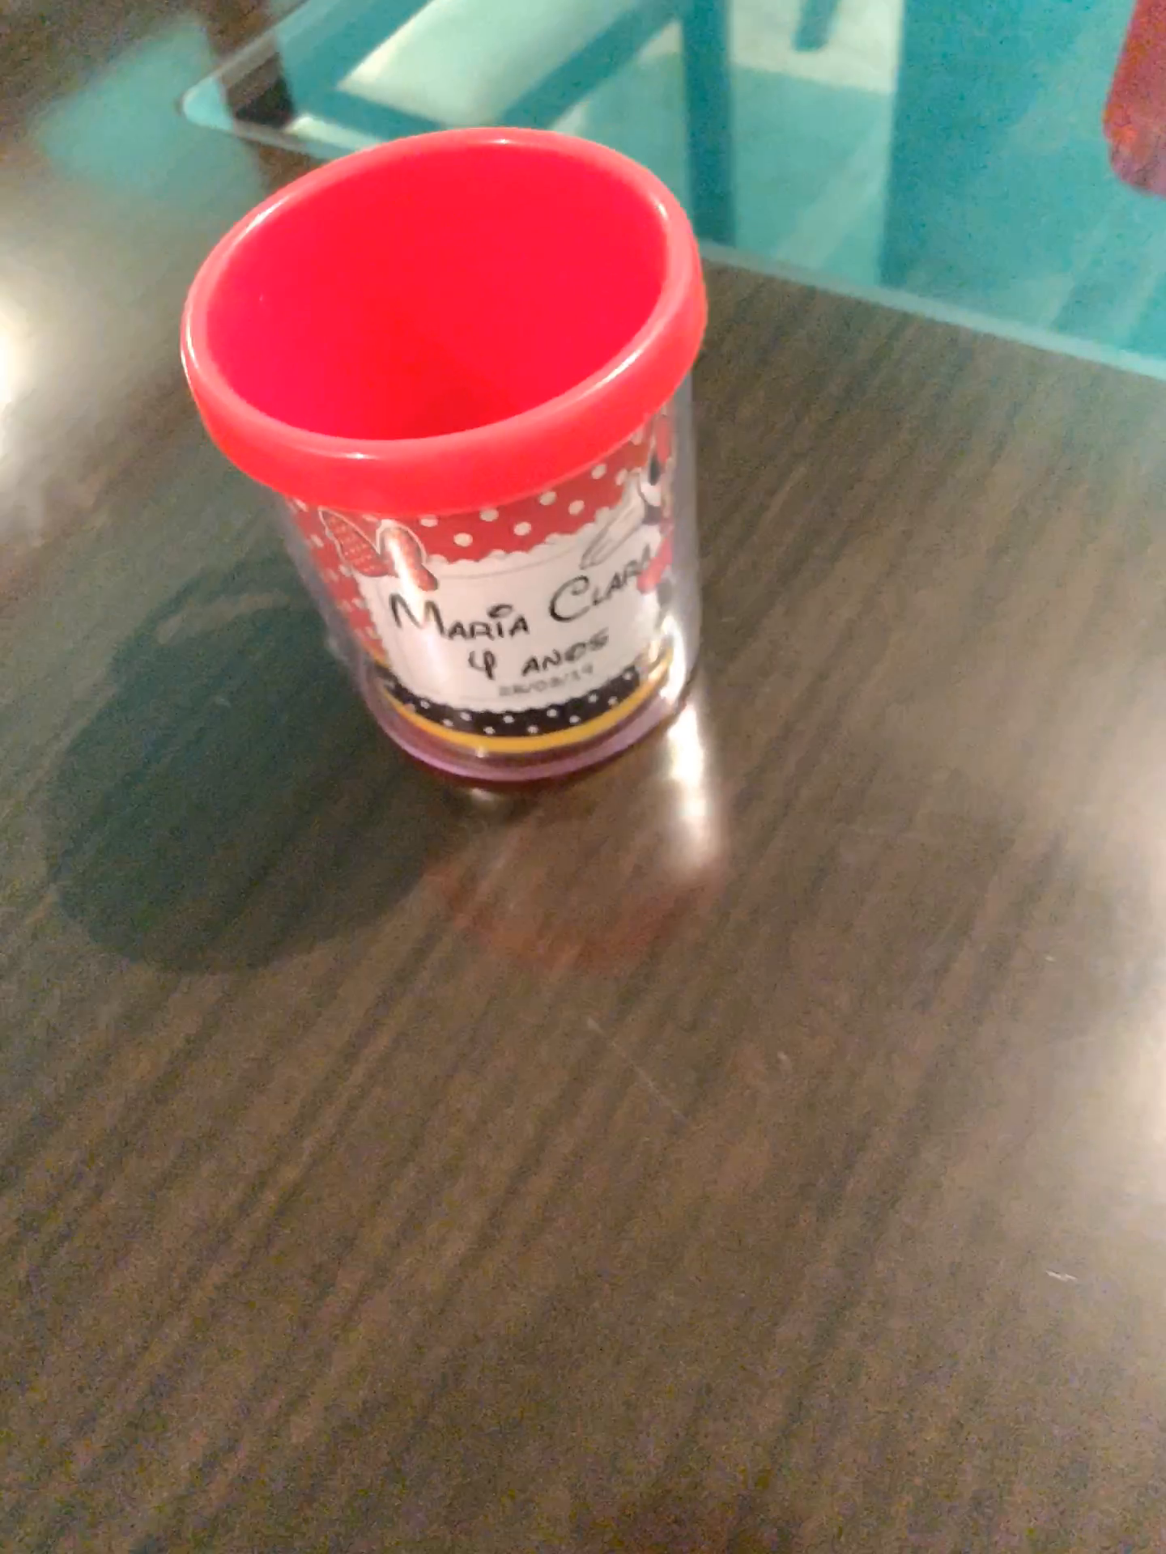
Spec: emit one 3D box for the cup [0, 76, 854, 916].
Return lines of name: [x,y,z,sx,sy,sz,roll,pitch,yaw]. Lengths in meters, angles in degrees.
cup: [-0.022,-0.057,0.252,0.120,0.110,0.090,23,63,21]
